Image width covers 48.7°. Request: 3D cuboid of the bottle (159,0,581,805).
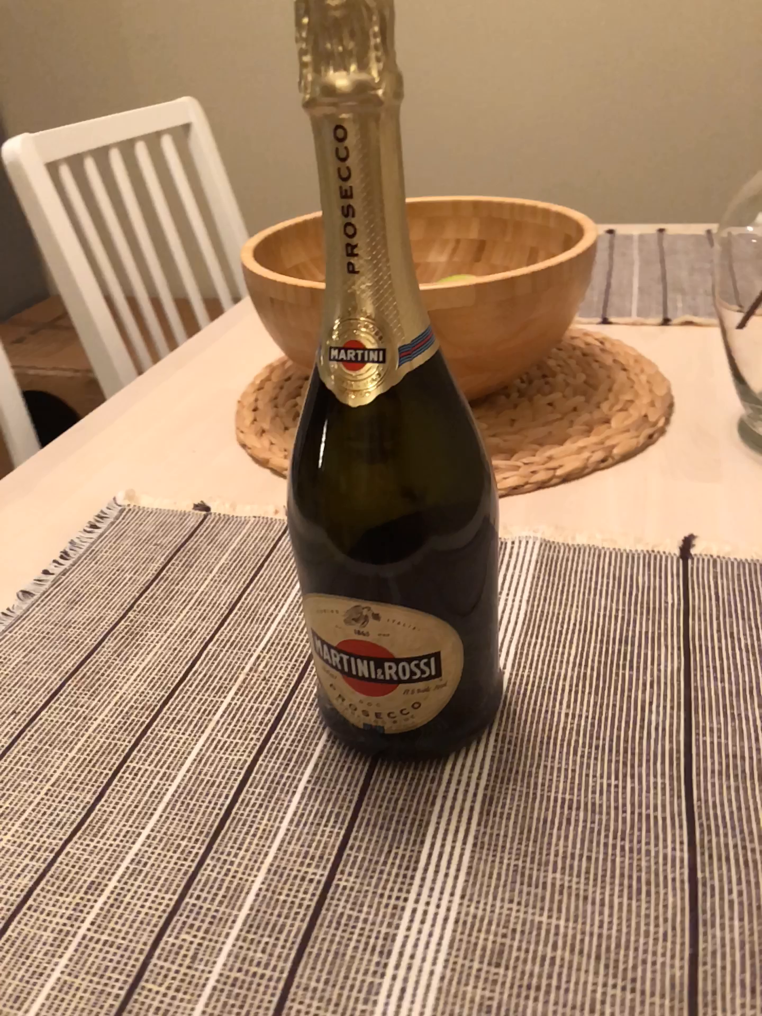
[{"bbox_3d":[0.013,-0.039,0.341,0.100,0.308,0.101,-4,30,2],"label":"bottle"}]
